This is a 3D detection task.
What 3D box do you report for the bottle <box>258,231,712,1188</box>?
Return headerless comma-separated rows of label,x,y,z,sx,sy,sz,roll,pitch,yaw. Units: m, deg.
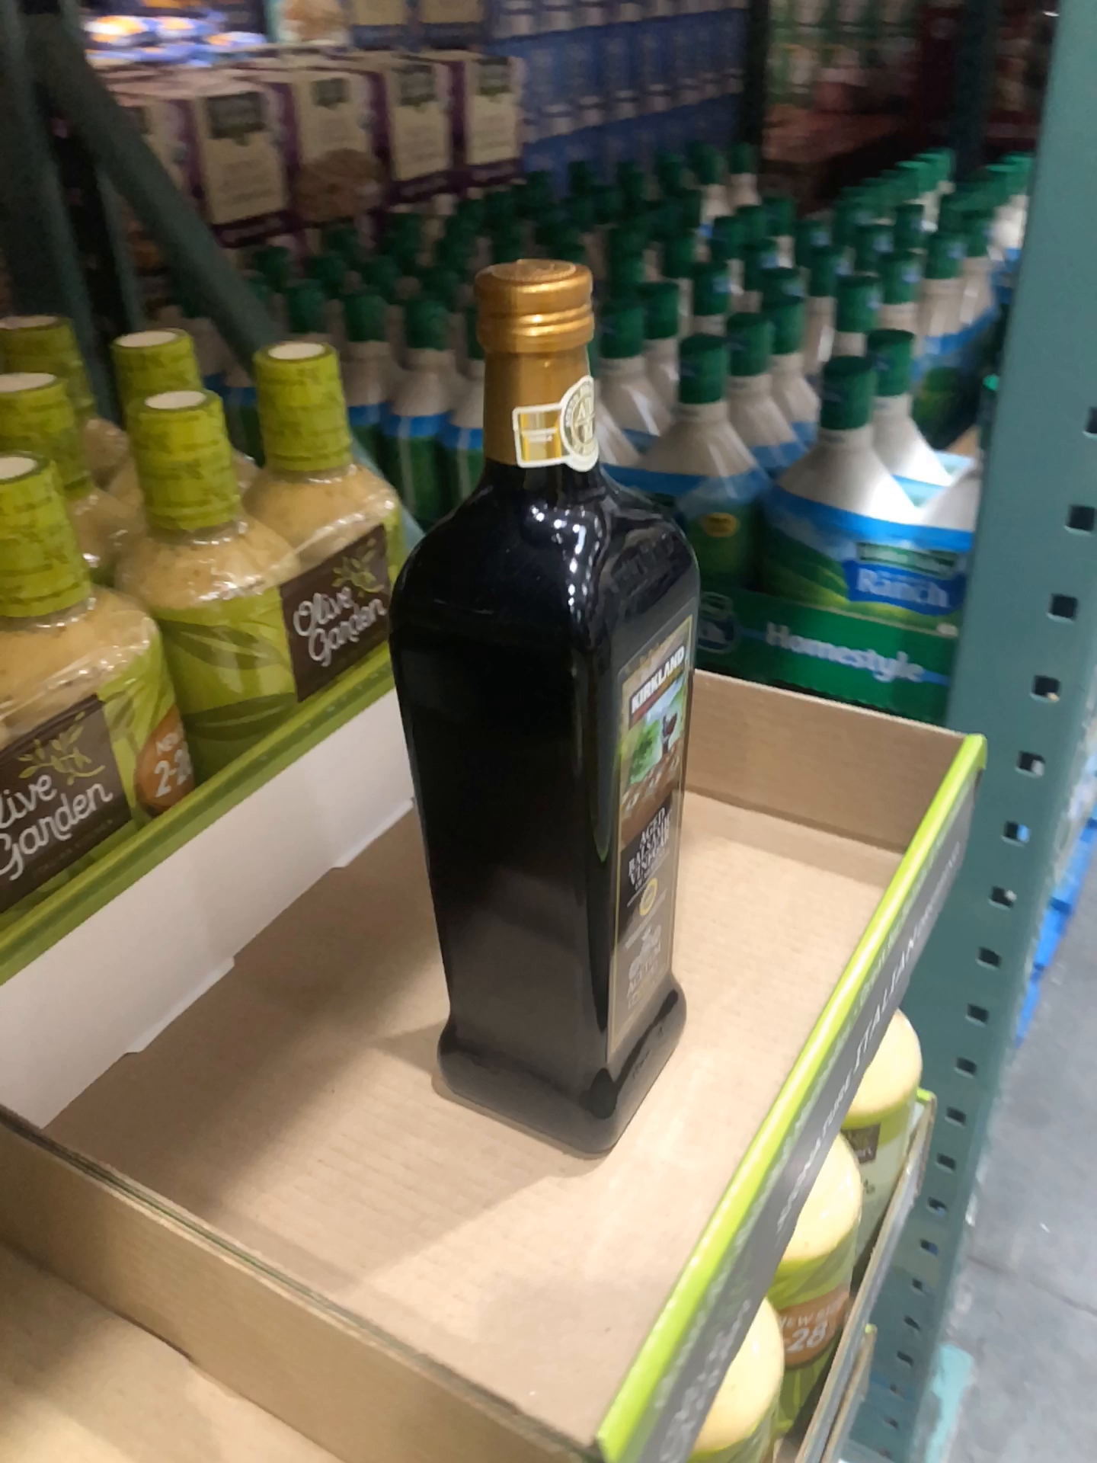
bottle,-0.009,0.004,0.410,0.090,0.305,0.090,-2,32,1
